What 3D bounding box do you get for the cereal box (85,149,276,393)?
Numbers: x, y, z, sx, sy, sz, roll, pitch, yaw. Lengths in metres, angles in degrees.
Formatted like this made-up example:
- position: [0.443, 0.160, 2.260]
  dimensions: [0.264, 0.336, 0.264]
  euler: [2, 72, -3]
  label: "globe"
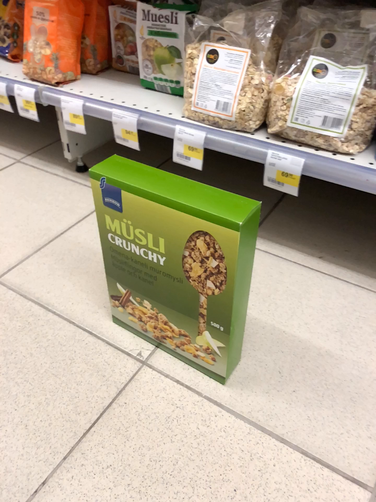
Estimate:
- position: [-0.016, 0.029, 0.494]
  dimensions: [0.200, 0.249, 0.050]
  euler: [23, 43, 26]
  label: "cereal box"
